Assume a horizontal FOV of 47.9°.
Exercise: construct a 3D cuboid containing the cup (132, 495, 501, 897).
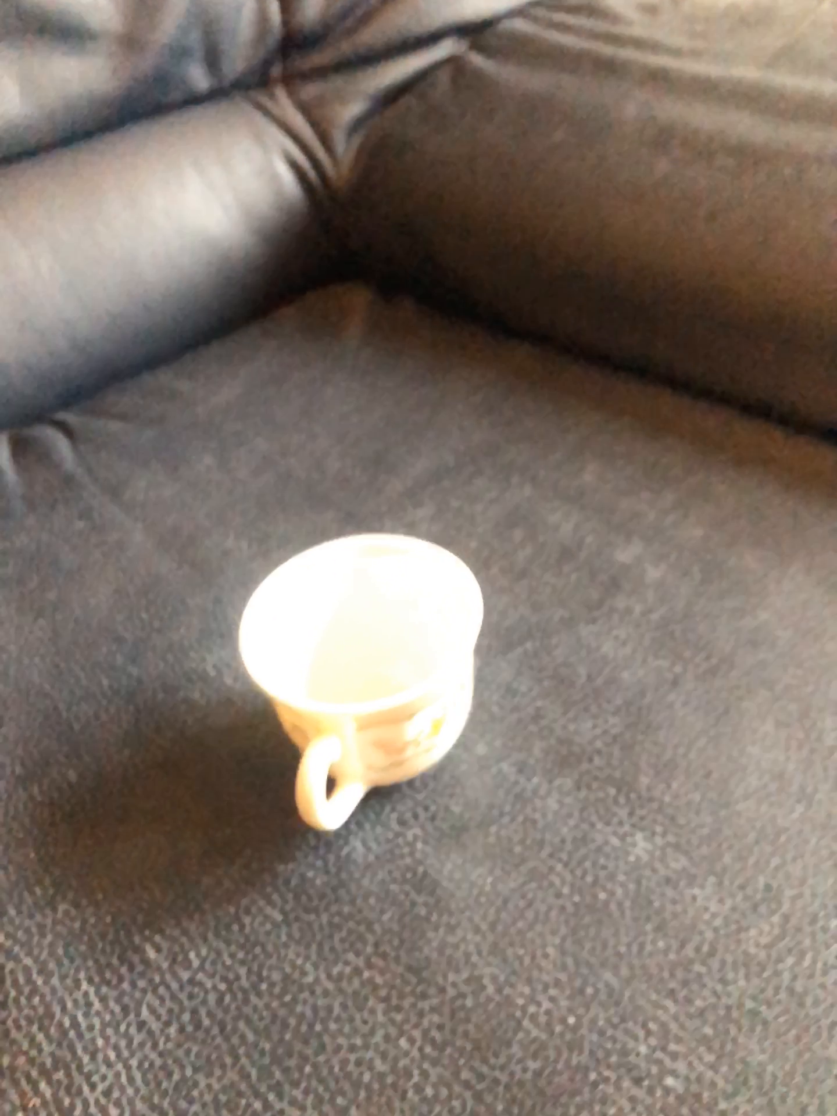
[{"bbox_3d":[-0.019,0.031,0.245,0.068,0.050,0.084,5,42,11],"label":"cup"}]
